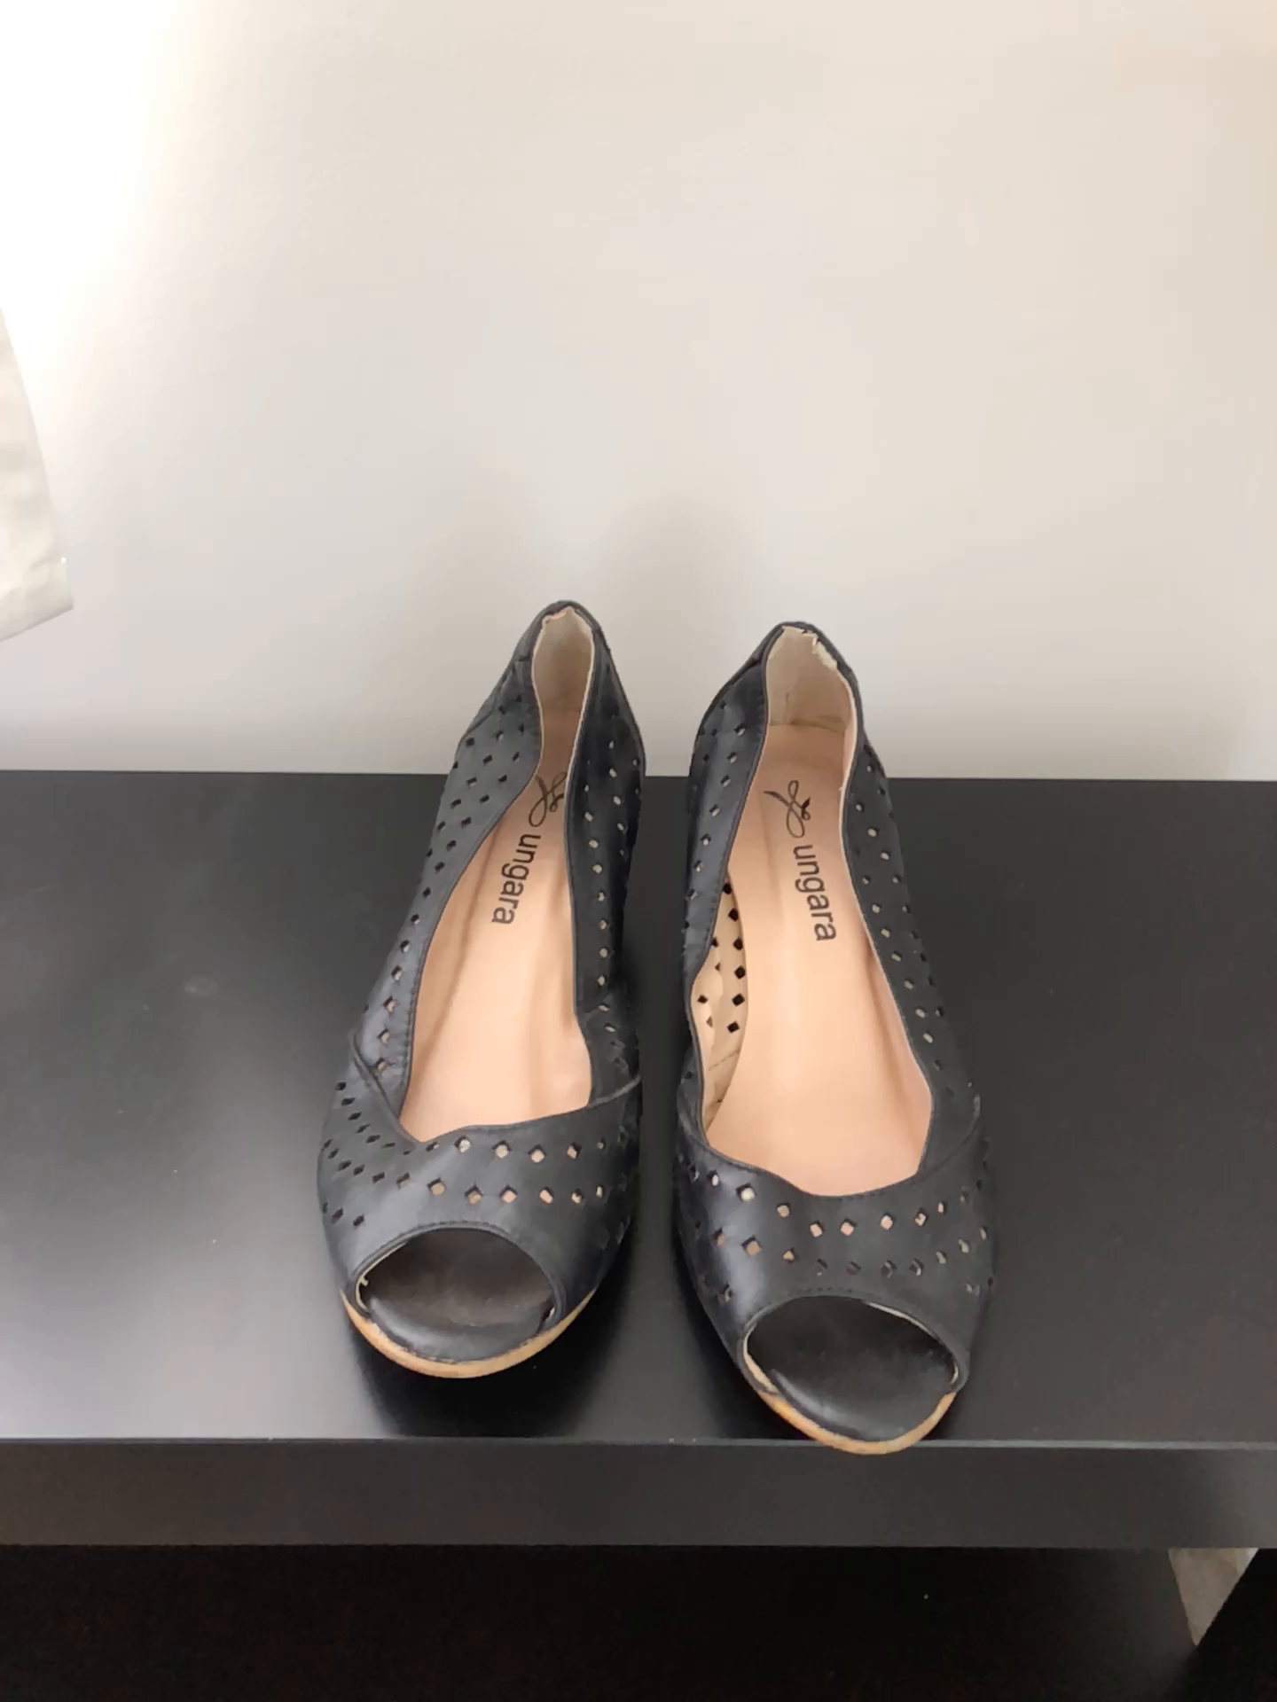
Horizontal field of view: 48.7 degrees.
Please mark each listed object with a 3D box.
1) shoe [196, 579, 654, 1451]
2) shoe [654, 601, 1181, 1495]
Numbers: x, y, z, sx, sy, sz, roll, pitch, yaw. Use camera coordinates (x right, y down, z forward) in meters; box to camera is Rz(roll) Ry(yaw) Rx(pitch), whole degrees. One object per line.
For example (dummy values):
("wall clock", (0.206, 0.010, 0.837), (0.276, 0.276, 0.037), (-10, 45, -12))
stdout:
("shoe", (-0.040, 0.027, 0.385), (0.085, 0.100, 0.231), (1, 39, 0))
("shoe", (0.051, 0.034, 0.367), (0.085, 0.100, 0.221), (0, 39, -2))
